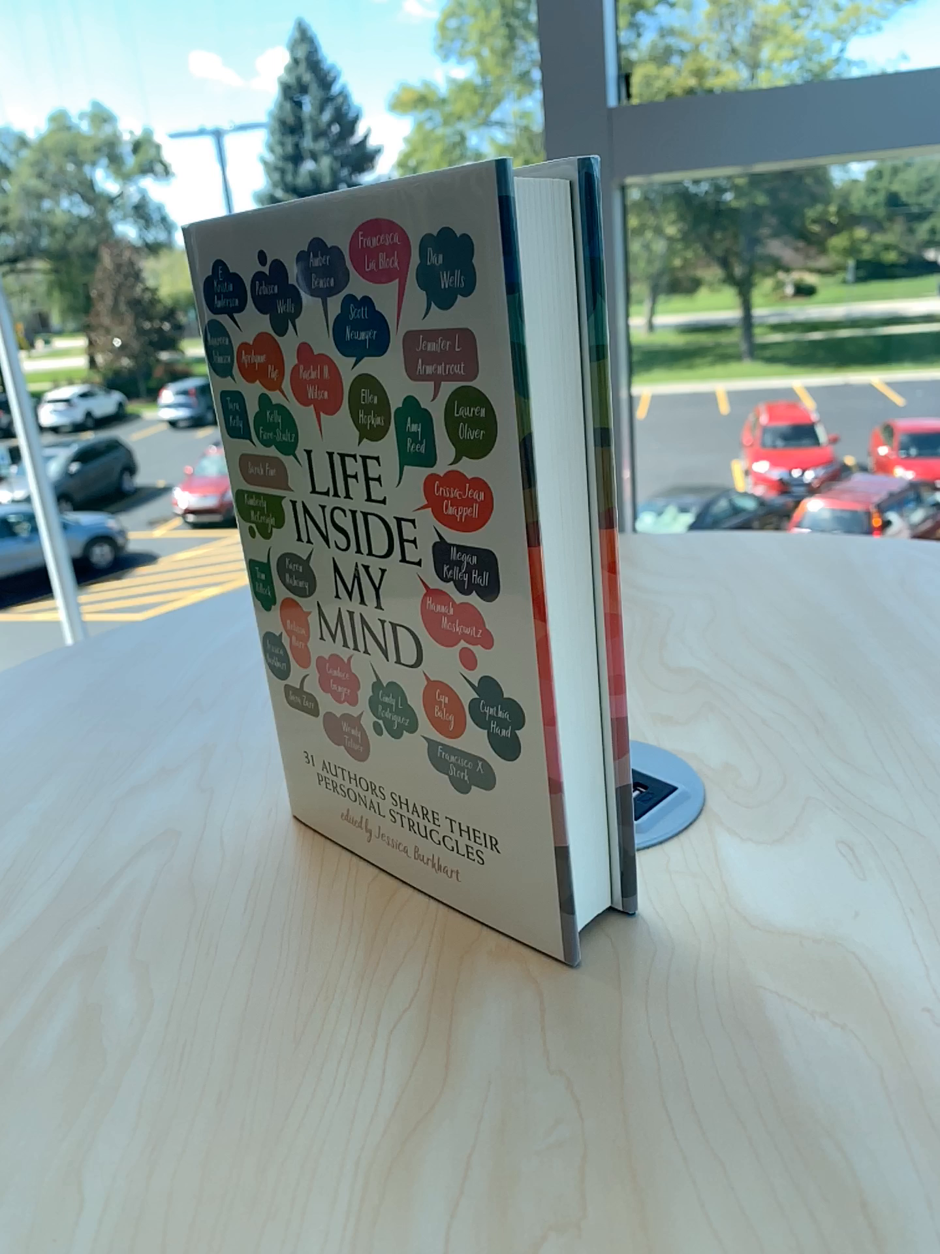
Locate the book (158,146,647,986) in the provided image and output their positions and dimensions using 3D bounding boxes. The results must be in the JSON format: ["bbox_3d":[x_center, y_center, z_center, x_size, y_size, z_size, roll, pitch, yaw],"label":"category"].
[{"bbox_3d":[-0.021,-0.017,0.302,0.150,0.218,0.030,14,29,43],"label":"book"}]
